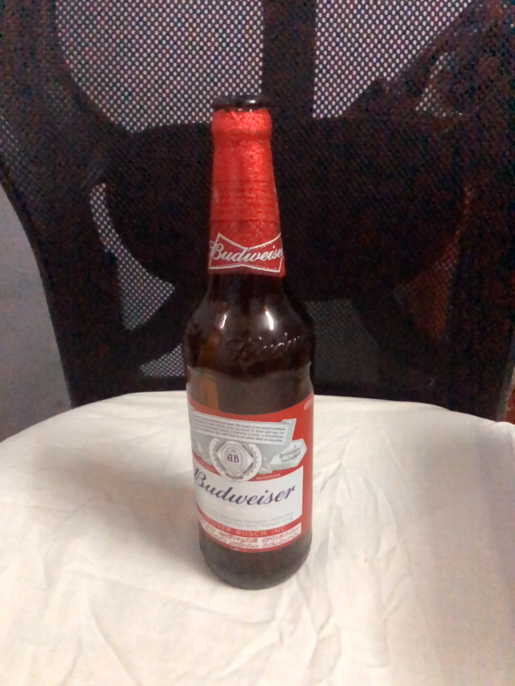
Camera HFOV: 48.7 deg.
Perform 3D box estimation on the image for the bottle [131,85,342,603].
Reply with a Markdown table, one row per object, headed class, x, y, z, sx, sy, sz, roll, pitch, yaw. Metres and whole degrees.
| class | x | y | z | sx | sy | sz | roll | pitch | yaw |
| --- | --- | --- | --- | --- | --- | --- | --- | --- | --- |
| bottle | -0.006 | 0.014 | 0.314 | 0.080 | 0.279 | 0.070 | 5 | 28 | 8 |
